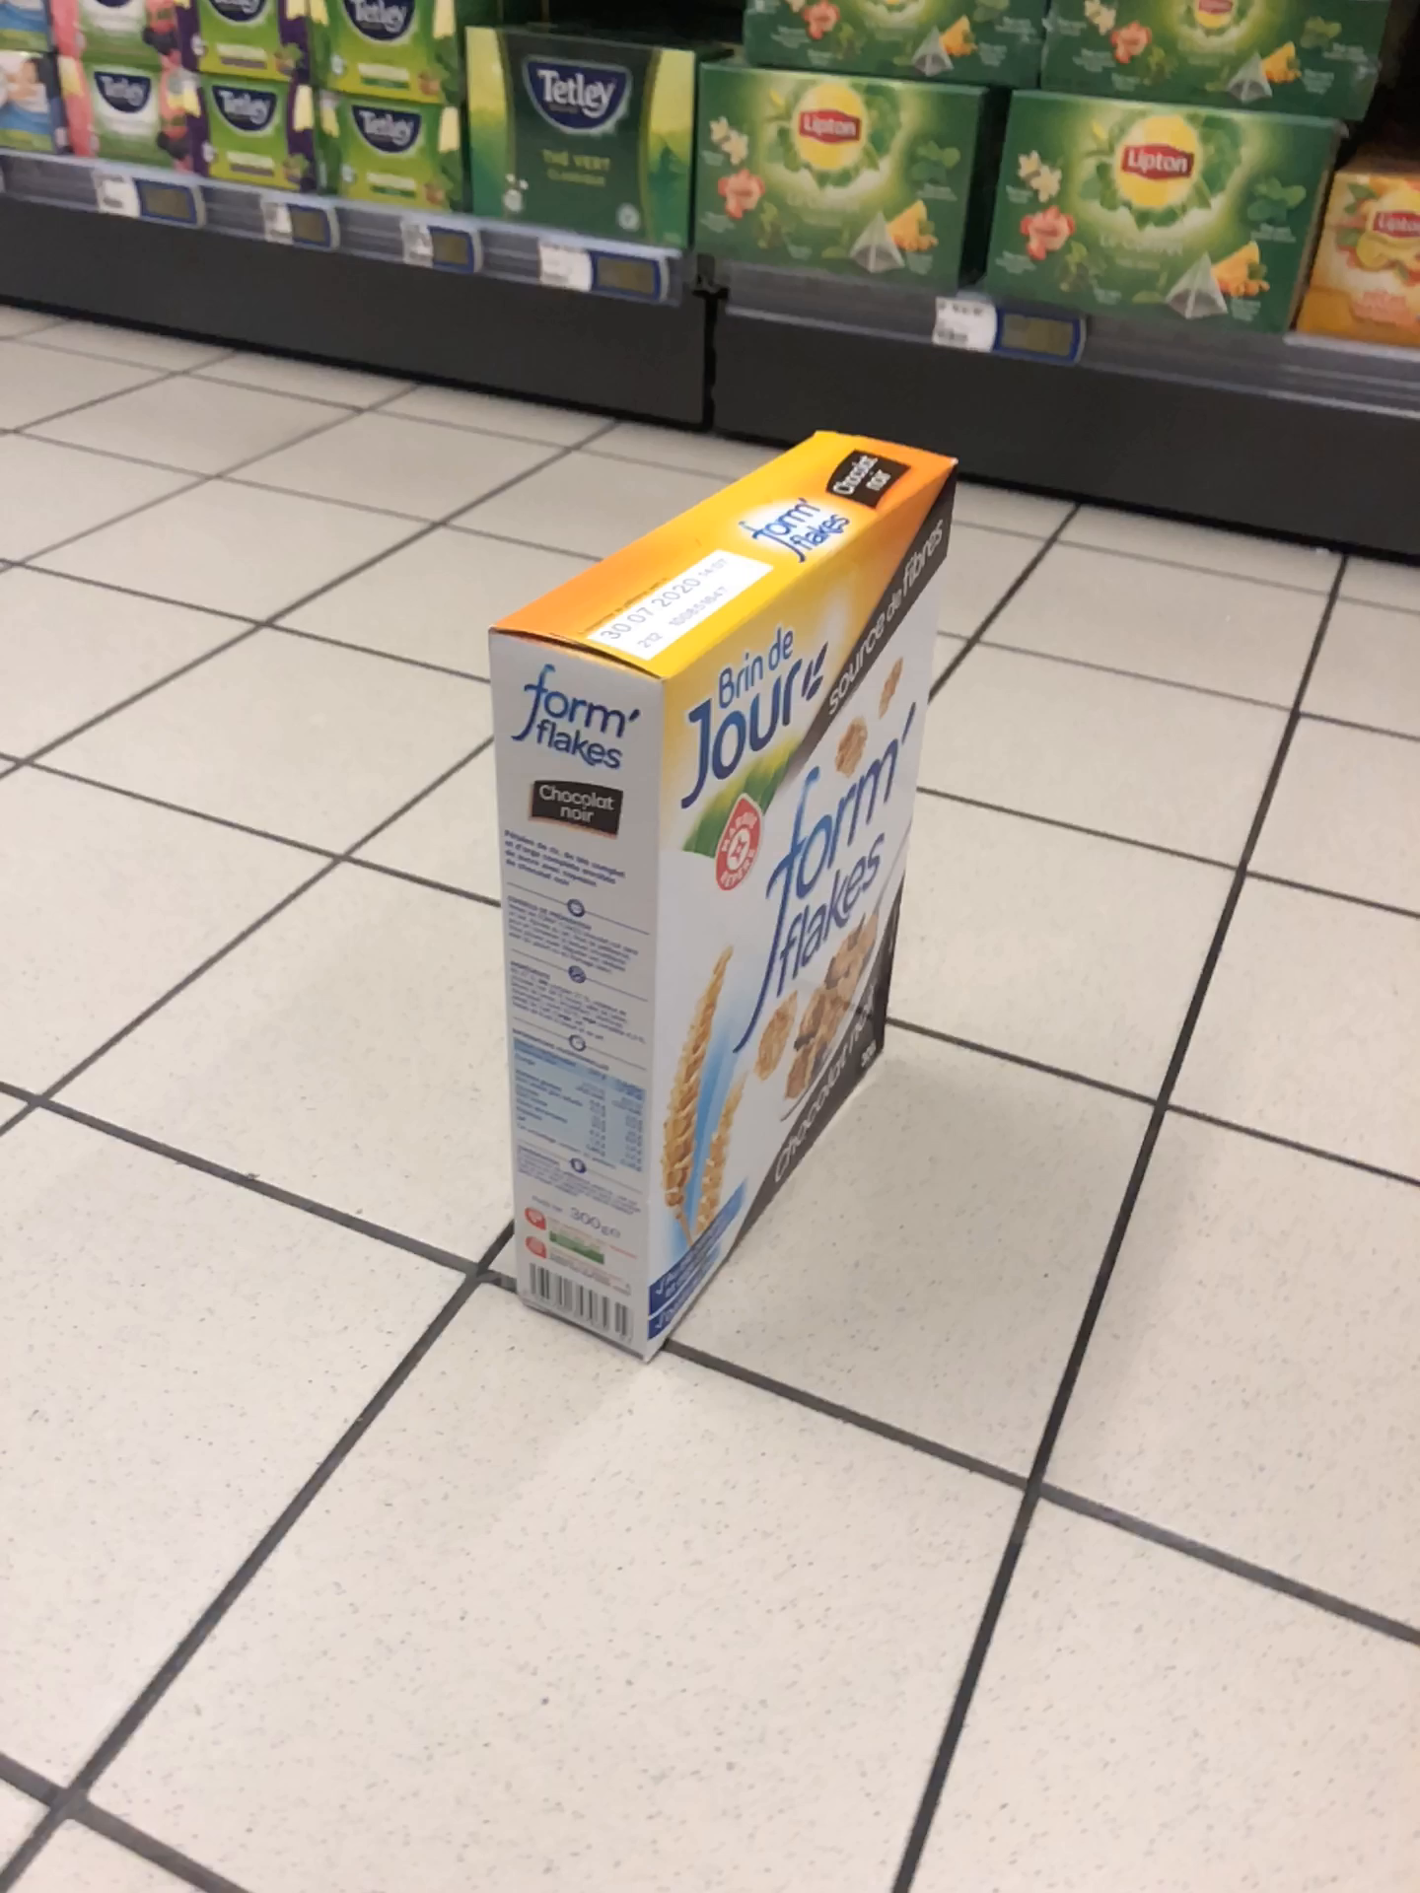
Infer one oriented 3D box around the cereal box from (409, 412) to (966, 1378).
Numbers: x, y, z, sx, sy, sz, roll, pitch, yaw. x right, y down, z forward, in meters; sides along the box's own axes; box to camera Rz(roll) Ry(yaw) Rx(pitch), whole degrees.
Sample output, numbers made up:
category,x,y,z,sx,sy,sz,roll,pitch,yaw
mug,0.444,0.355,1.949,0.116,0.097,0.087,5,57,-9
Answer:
category,x,y,z,sx,sy,sz,roll,pitch,yaw
cereal box,-0.001,-0.022,0.521,0.070,0.248,0.201,19,38,22
